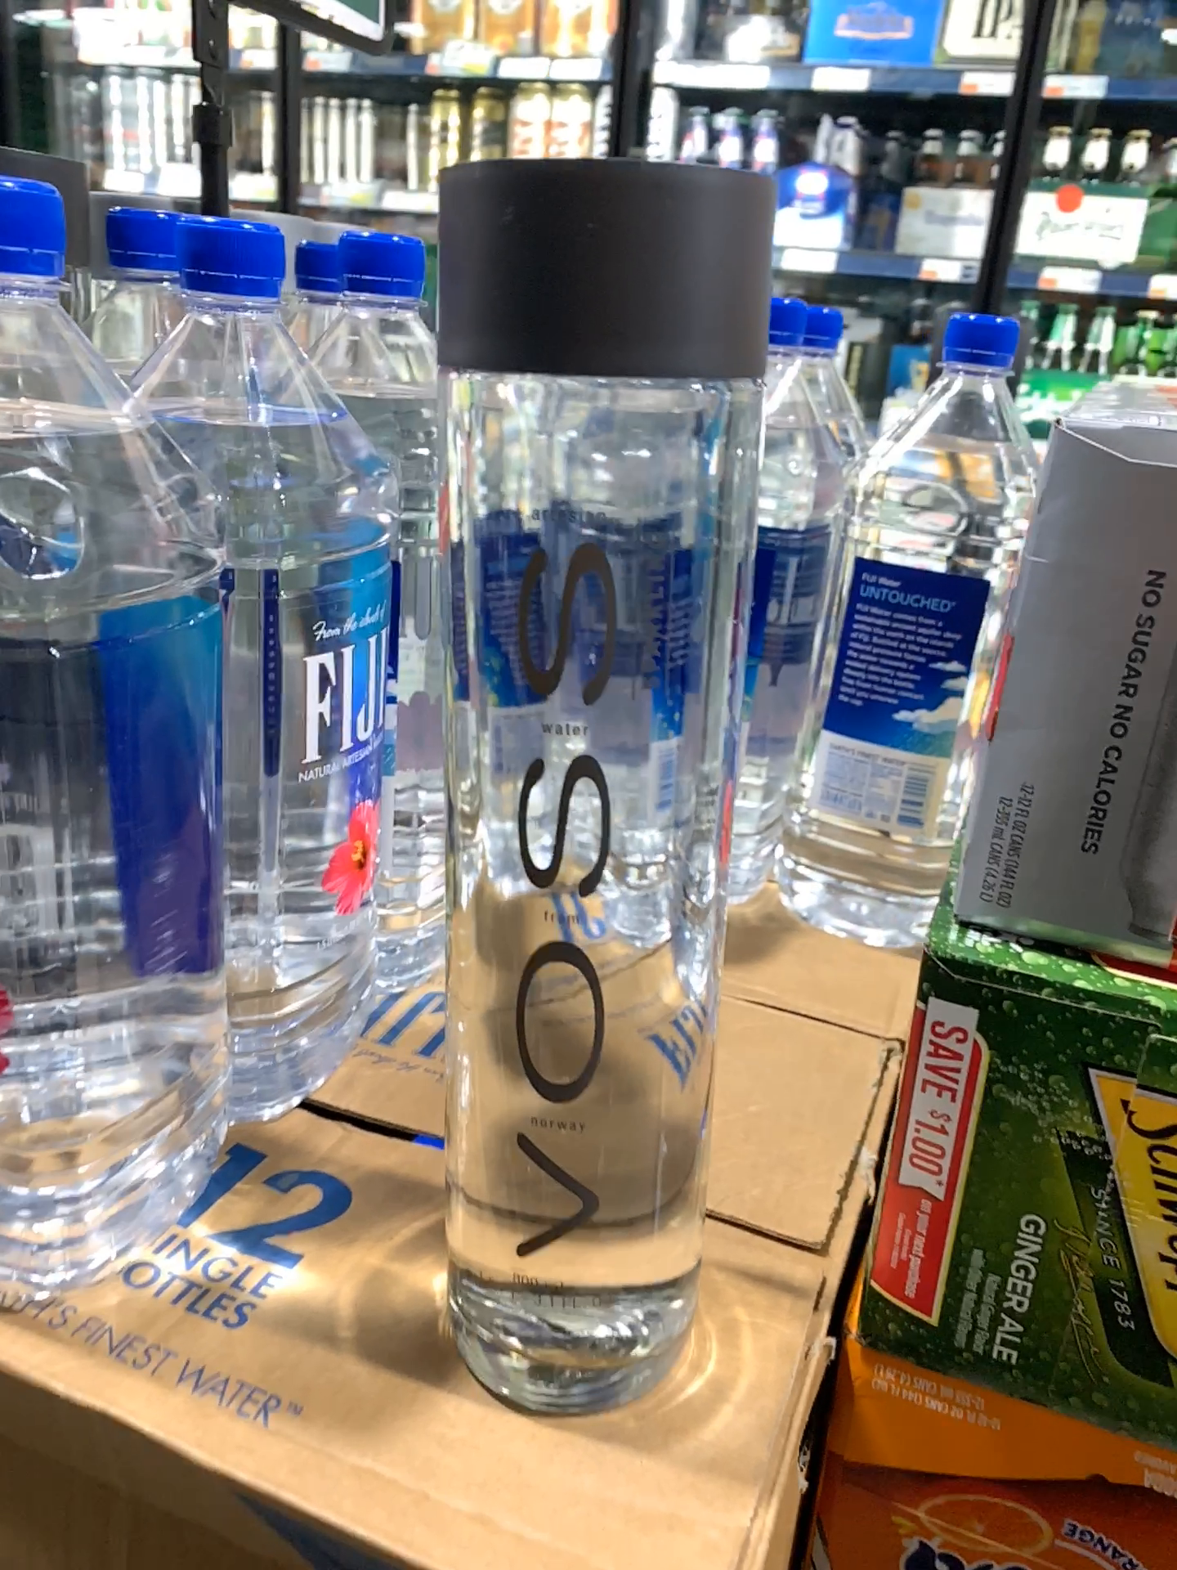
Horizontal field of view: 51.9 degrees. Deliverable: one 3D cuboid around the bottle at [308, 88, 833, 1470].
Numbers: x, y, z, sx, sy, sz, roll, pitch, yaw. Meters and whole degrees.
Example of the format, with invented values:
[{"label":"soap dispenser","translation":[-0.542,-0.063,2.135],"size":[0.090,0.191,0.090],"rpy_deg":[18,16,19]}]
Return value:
[{"label":"bottle","translation":[-0.007,0.008,0.284],"size":[0.080,0.289,0.080],"rpy_deg":[3,21,-1]}]
